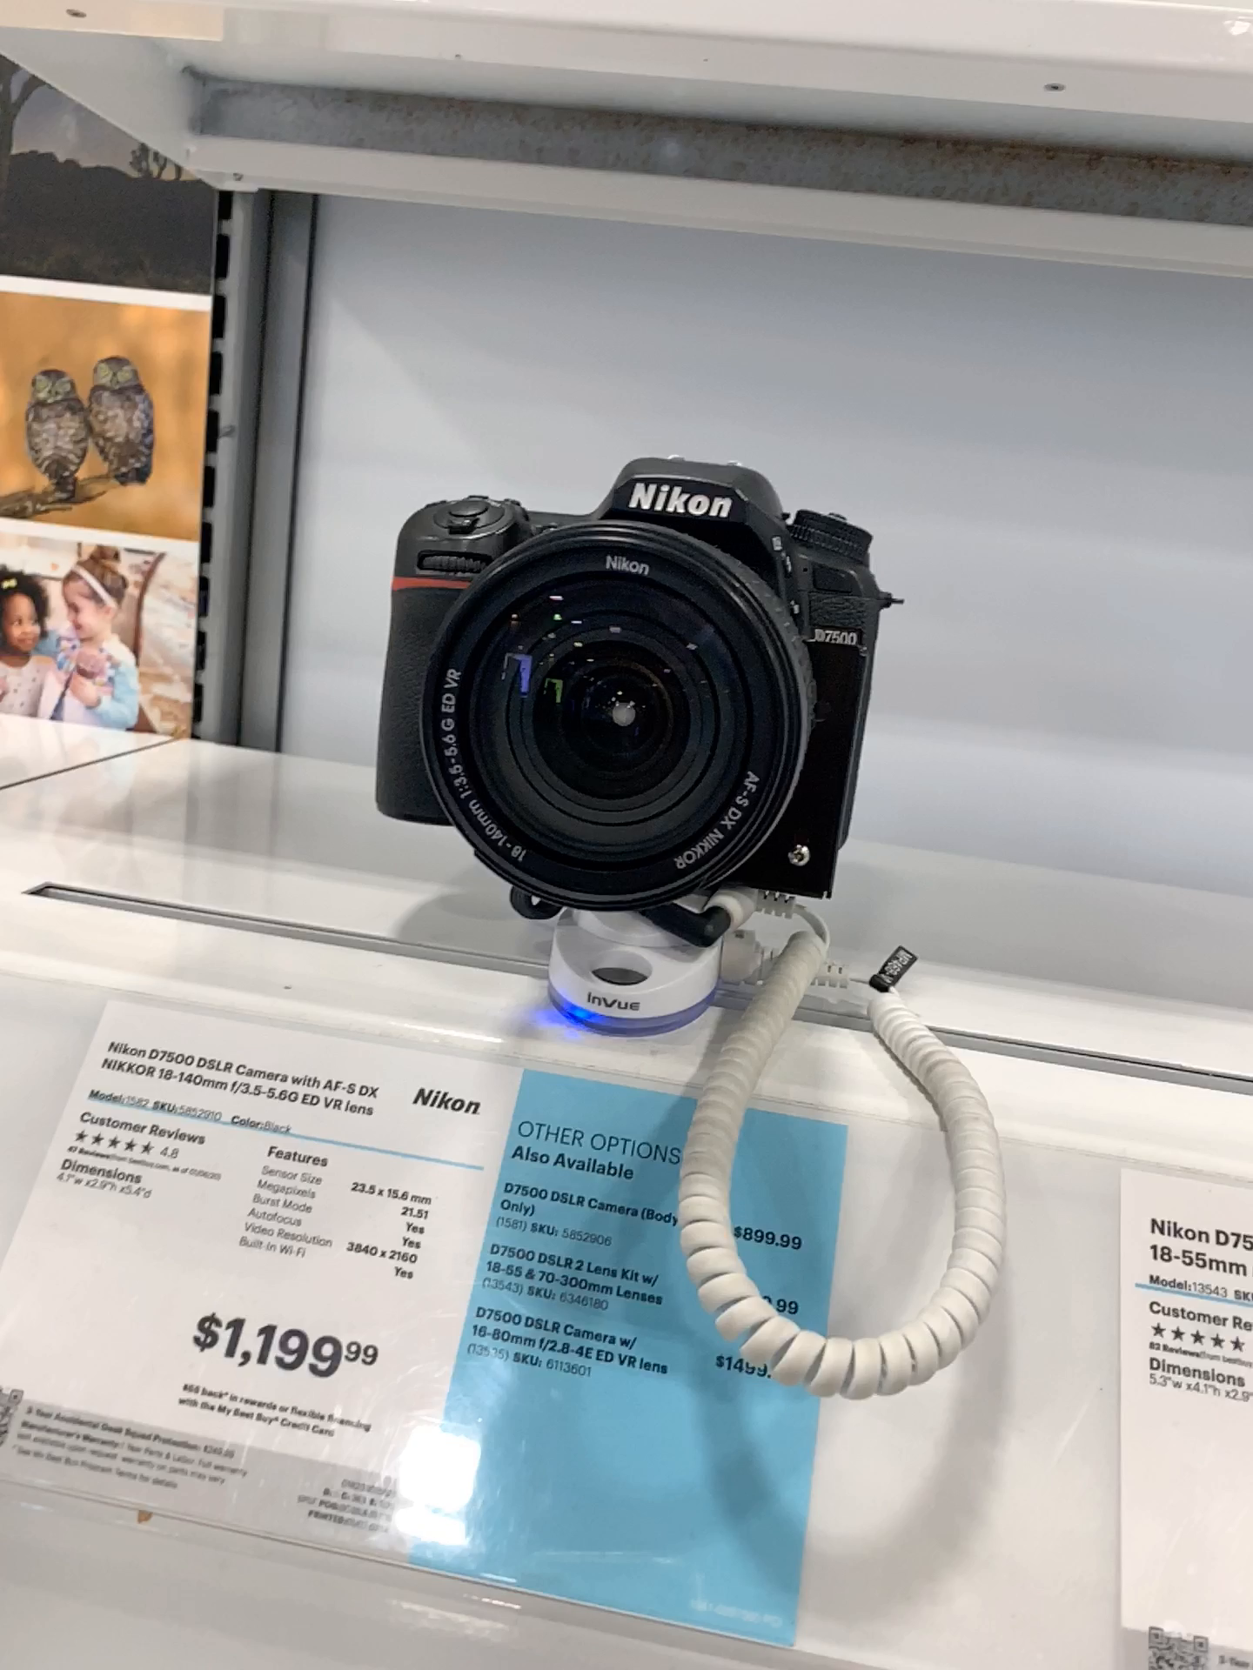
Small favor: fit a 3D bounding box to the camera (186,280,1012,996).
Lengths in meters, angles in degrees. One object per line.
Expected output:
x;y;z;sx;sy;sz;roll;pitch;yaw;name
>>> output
-0.001;-0.044;0.306;0.130;0.107;0.172;7;7;4;camera
